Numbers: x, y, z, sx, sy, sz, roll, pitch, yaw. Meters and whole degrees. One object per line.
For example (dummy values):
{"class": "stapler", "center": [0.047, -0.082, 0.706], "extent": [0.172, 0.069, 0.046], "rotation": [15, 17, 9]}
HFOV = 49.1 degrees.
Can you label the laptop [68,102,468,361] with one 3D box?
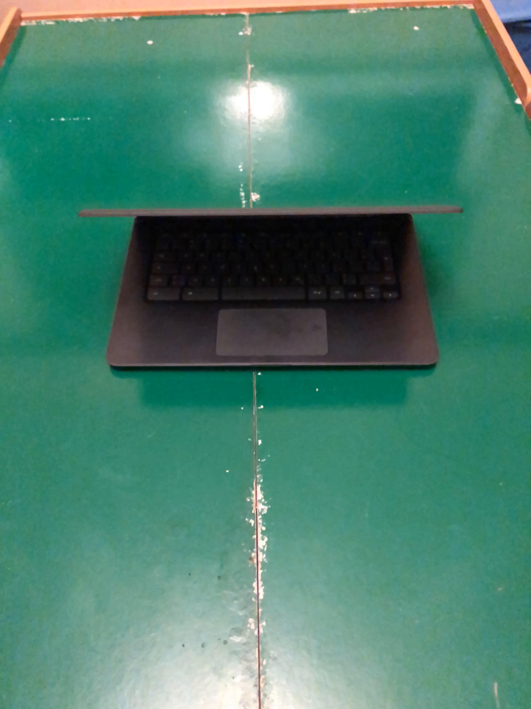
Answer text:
{"class": "laptop", "center": [0.004, -0.122, 0.578], "extent": [0.316, 0.144, 0.209], "rotation": [0, 54, 1]}
